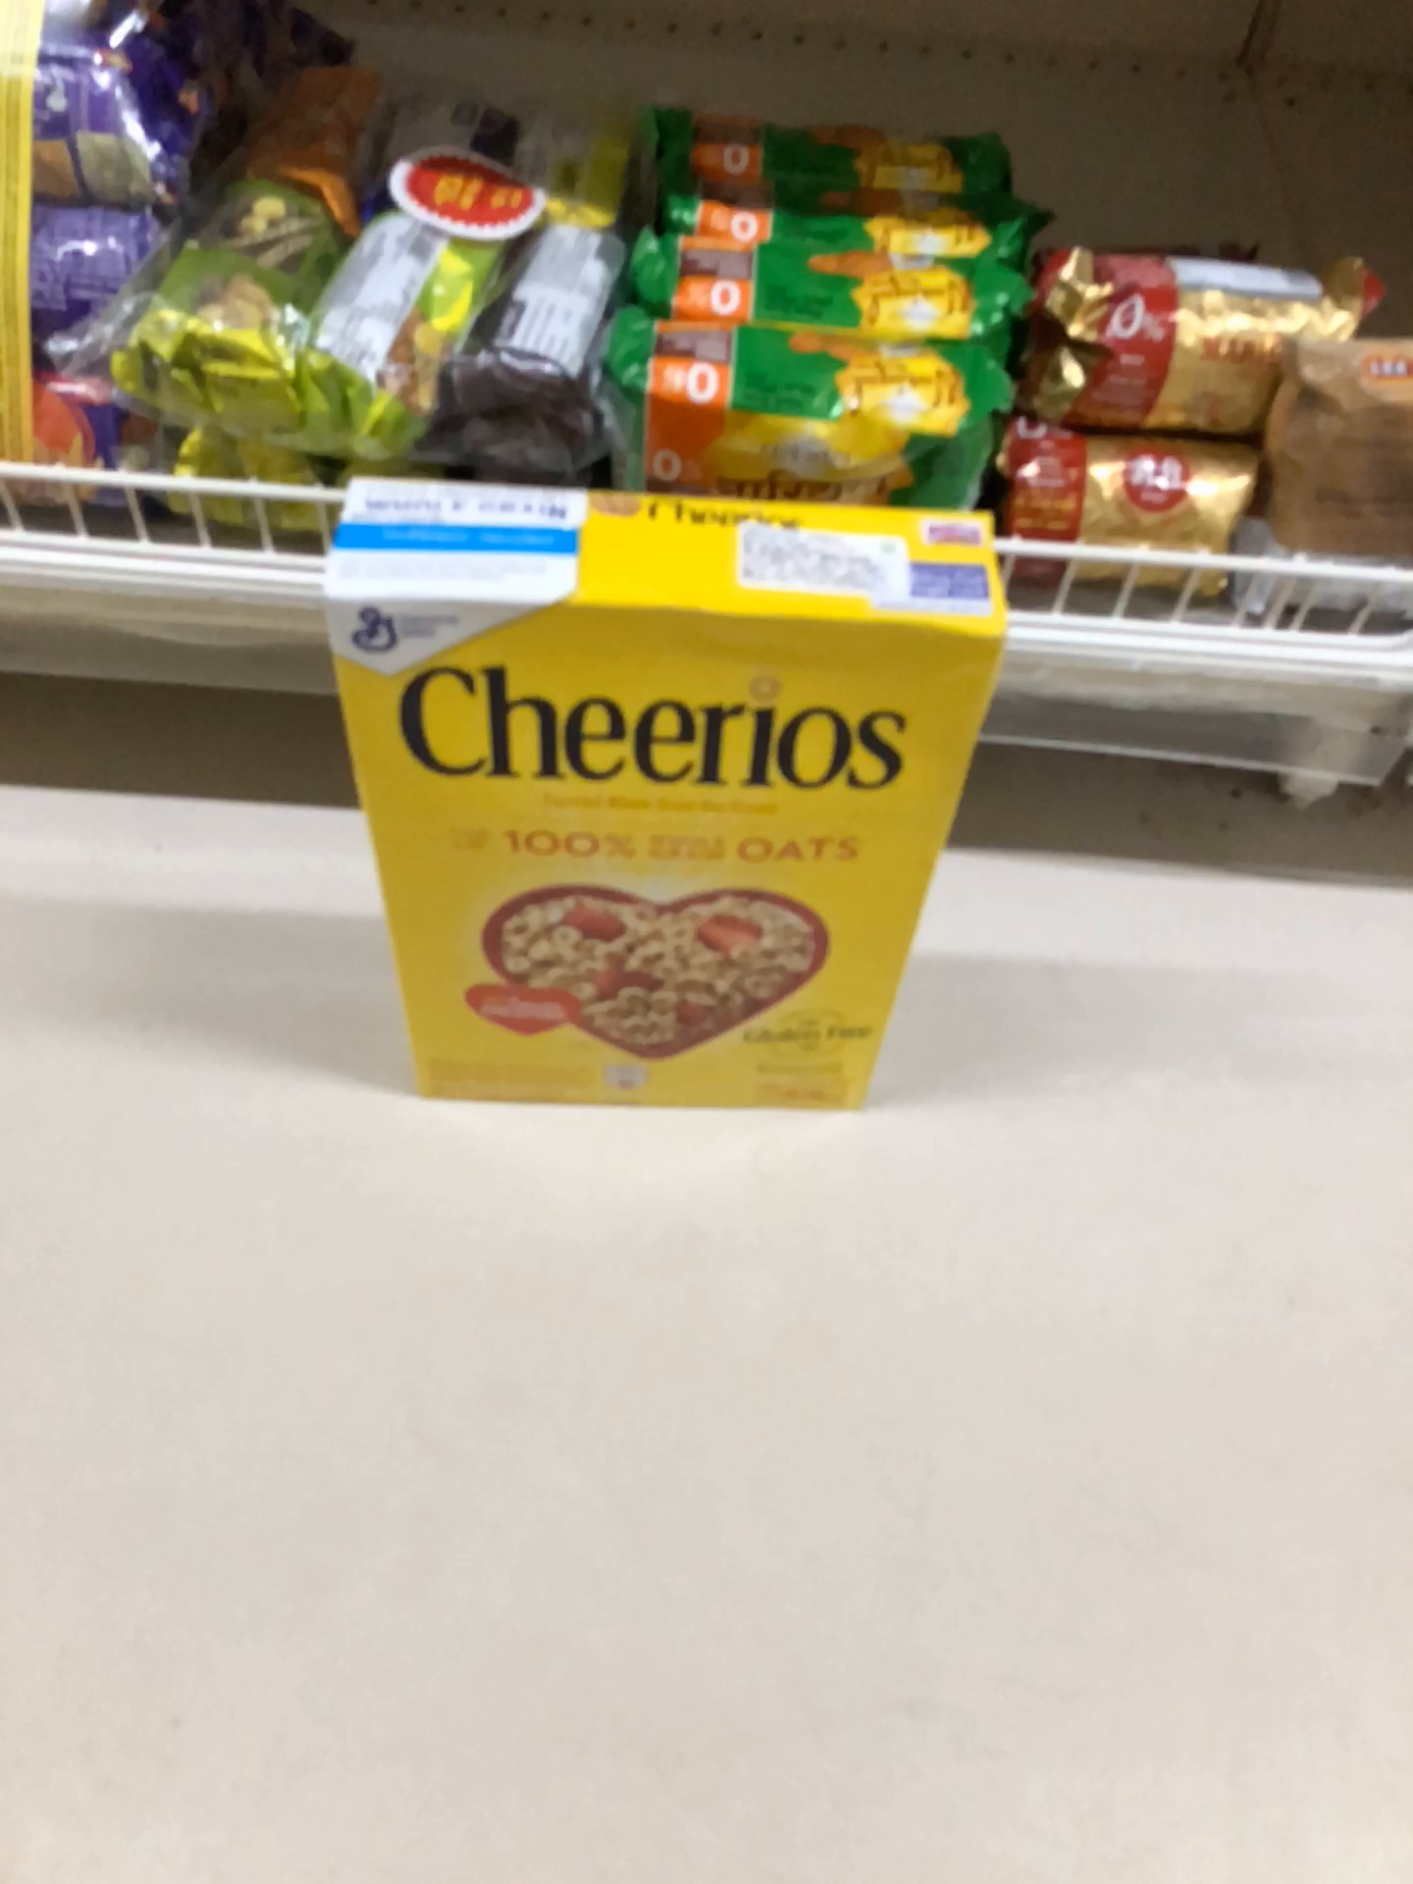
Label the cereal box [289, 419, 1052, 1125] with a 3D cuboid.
[{"bbox_3d":[-0.017,-0.035,0.537,0.200,0.289,0.060,2,55,-3],"label":"cereal box"}]
